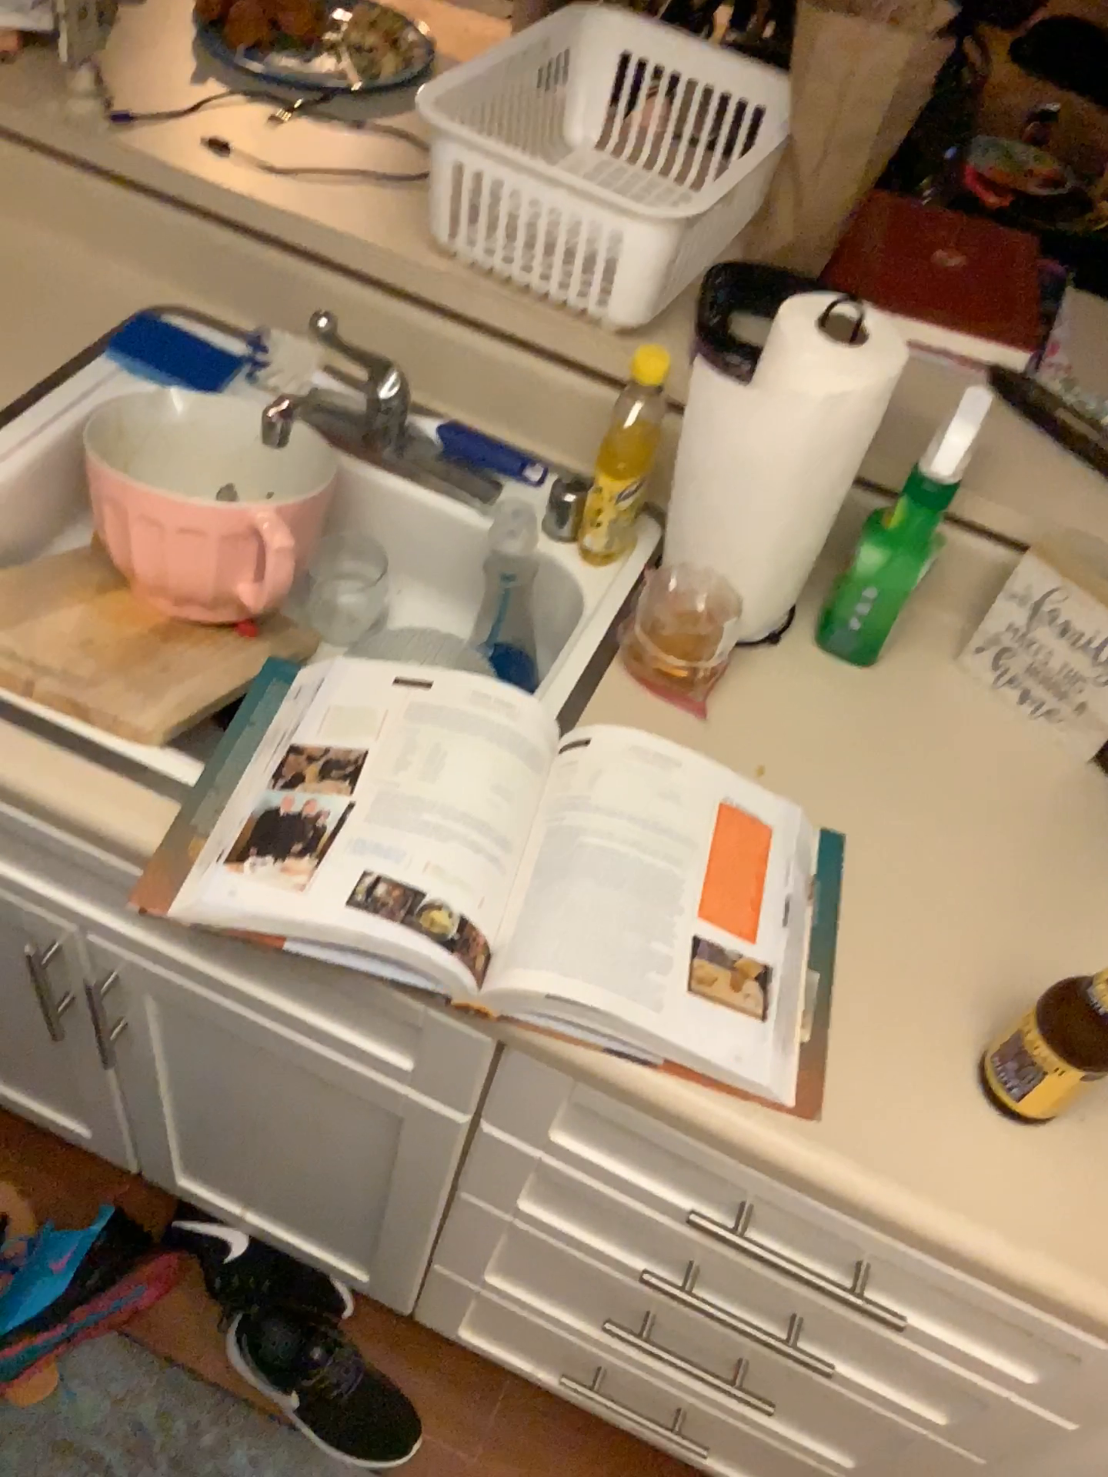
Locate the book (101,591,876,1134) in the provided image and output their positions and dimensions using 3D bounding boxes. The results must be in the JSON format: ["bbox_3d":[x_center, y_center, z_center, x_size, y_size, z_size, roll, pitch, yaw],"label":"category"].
[{"bbox_3d":[-0.022,0.075,0.943,0.530,0.040,0.310,17,48,1],"label":"book"}]
